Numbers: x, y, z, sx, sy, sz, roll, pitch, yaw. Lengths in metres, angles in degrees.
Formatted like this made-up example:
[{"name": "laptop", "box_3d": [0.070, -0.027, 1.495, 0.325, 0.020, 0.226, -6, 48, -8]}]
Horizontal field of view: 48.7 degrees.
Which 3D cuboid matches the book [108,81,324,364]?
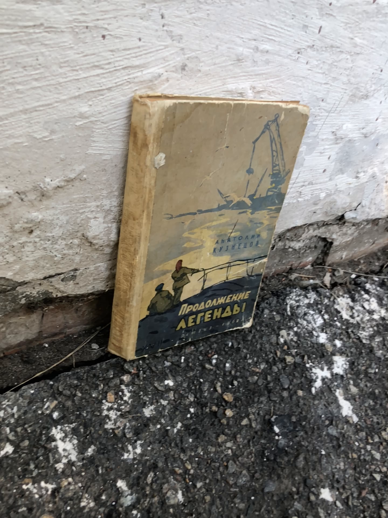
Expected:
[{"name": "book", "box_3d": [0.012, -0.024, 0.308, 0.137, 0.181, 0.030, -11, 33, -34]}]
